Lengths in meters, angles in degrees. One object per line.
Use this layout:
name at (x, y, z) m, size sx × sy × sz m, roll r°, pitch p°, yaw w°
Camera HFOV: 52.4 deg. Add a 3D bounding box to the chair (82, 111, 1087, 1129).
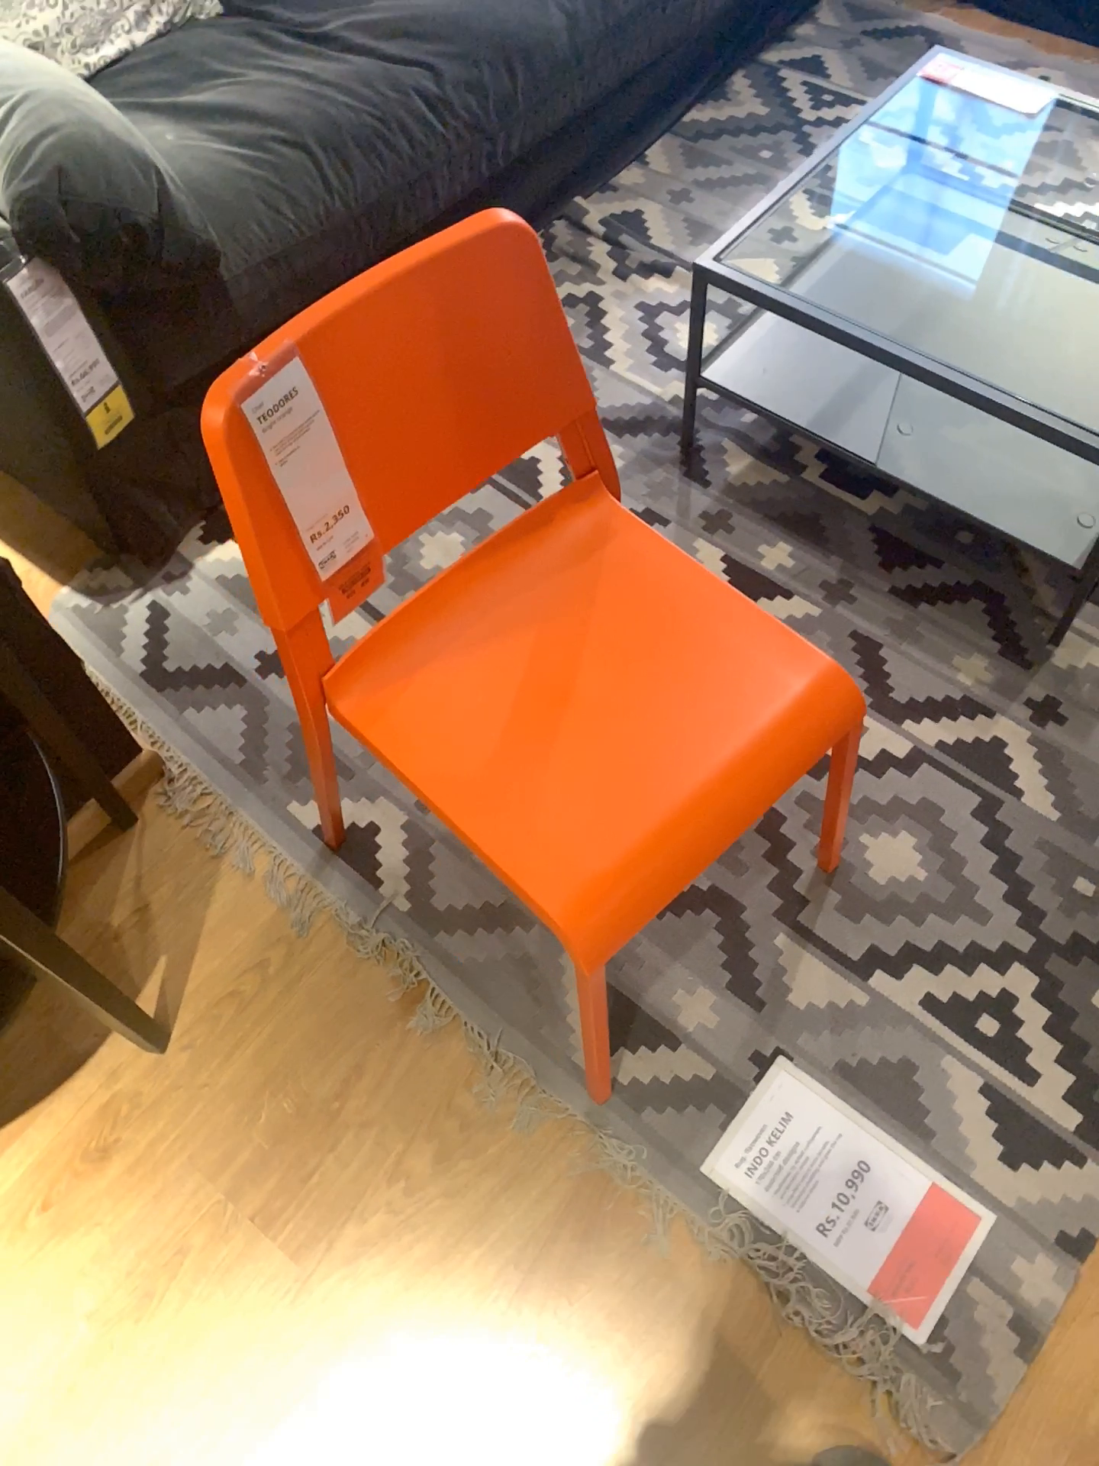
chair at (0.035, -0.059, 1.143) m, size 0.510 × 0.739 × 0.541 m, roll -41°, pitch 65°, yaw -19°
